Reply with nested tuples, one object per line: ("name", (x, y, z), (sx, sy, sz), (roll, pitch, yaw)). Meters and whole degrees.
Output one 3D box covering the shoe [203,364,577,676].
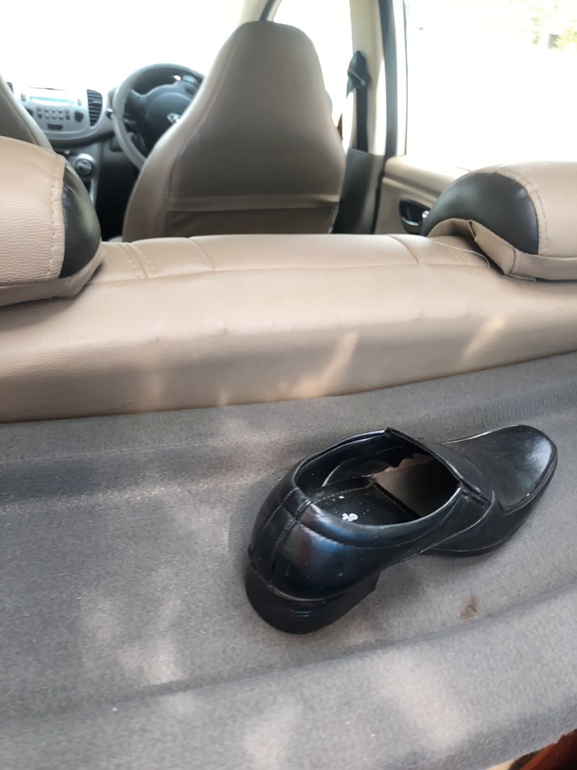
("shoe", (0.097, 0.071, 0.457), (0.301, 0.080, 0.100), (-15, 37, -36))
